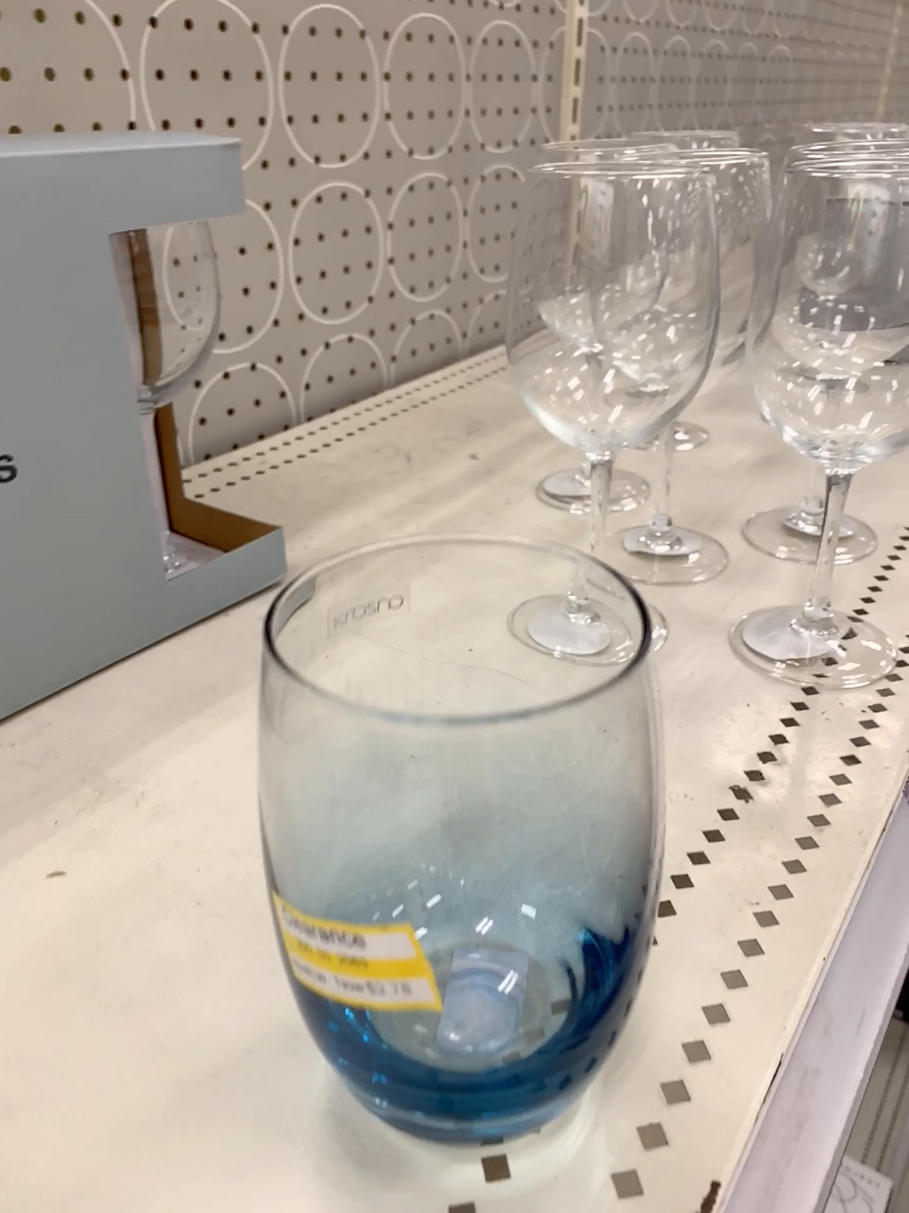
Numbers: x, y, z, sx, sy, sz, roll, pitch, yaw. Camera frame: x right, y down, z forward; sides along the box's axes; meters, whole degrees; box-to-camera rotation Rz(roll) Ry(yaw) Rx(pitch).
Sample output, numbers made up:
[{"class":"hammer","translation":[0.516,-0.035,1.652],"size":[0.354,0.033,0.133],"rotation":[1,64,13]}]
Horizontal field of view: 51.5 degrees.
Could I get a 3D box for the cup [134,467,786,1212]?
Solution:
[{"class":"cup","translation":[0.005,0.046,0.197],"size":[0.090,0.119,0.090],"rotation":[0,29,0]}]
